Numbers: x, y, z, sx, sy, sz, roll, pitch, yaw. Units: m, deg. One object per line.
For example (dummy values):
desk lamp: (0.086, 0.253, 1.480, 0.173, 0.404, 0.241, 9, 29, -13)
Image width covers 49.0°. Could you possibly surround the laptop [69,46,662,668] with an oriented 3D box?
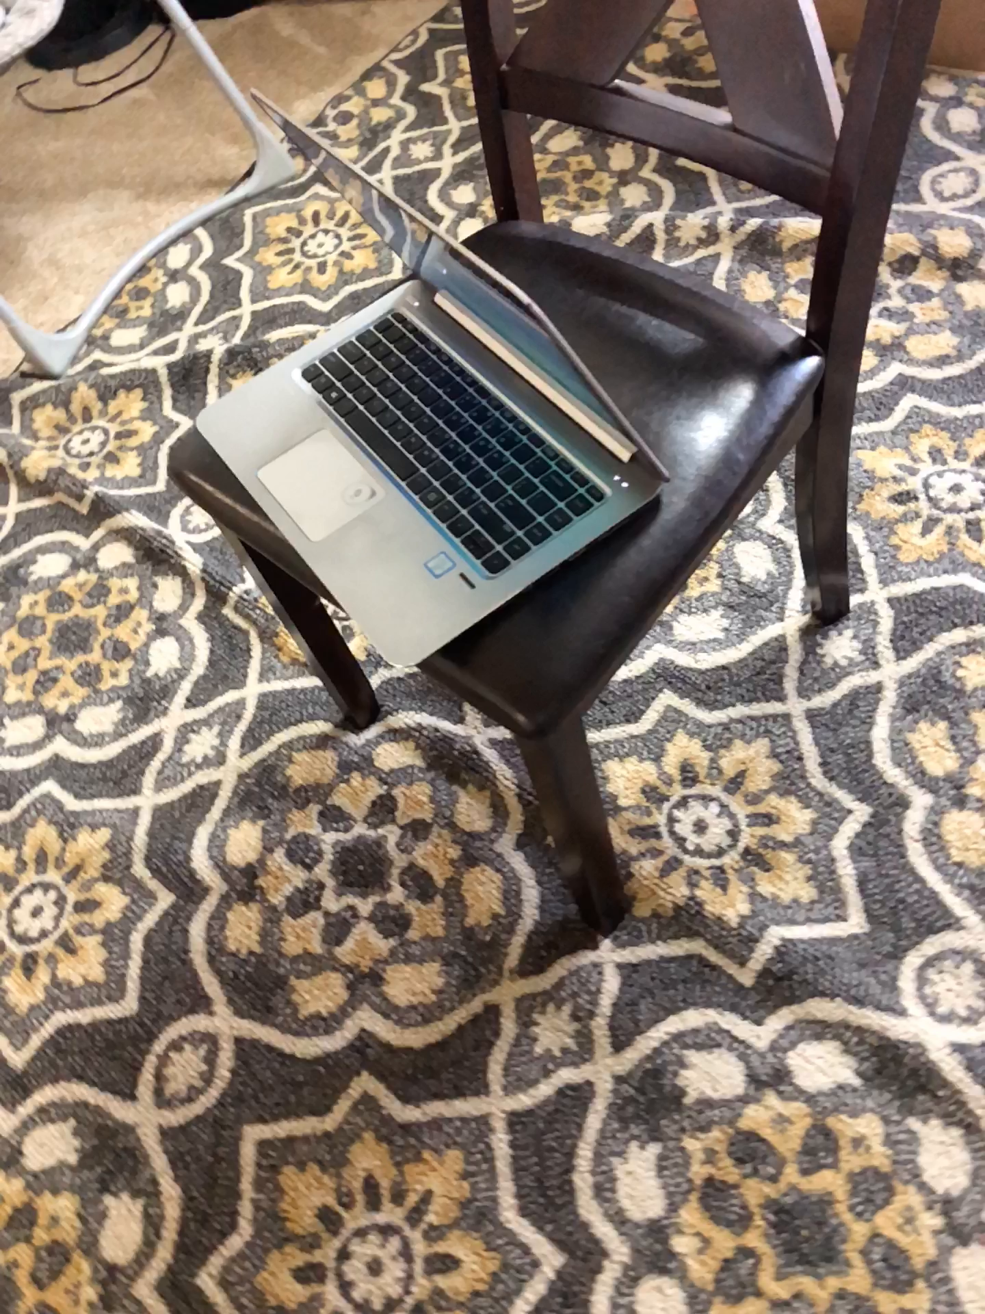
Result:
laptop: (-0.081, -0.205, 0.717, 0.211, 0.194, 0.323, -35, 57, -10)
